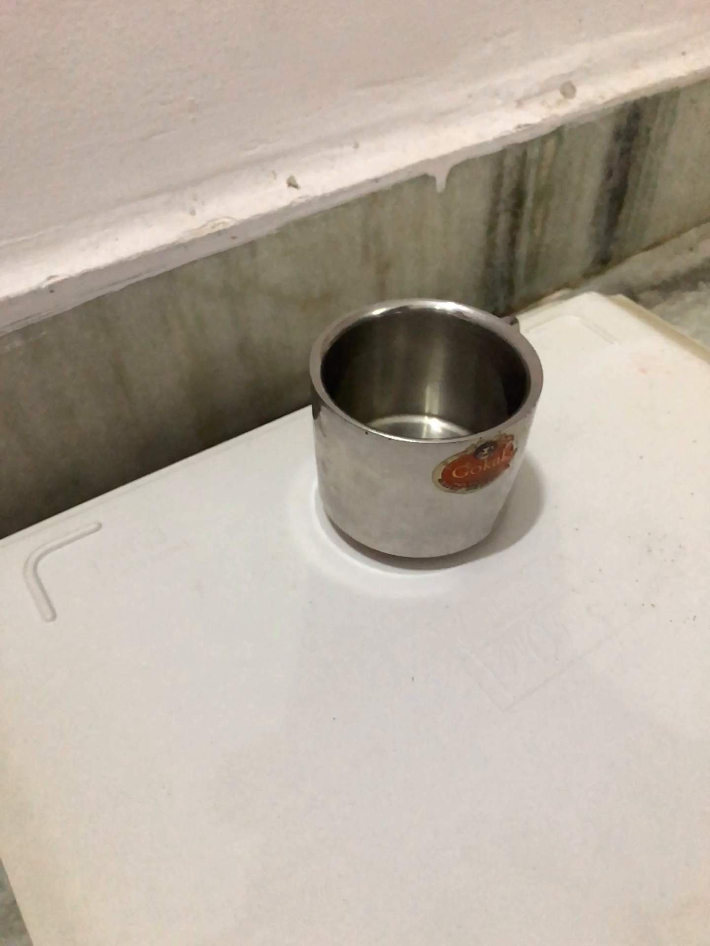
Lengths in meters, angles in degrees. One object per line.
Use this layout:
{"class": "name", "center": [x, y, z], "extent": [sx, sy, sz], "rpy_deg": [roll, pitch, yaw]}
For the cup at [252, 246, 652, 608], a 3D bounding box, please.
{"class": "cup", "center": [0.032, -0.022, 0.268], "extent": [0.100, 0.050, 0.080], "rpy_deg": [-34, 54, -30]}
